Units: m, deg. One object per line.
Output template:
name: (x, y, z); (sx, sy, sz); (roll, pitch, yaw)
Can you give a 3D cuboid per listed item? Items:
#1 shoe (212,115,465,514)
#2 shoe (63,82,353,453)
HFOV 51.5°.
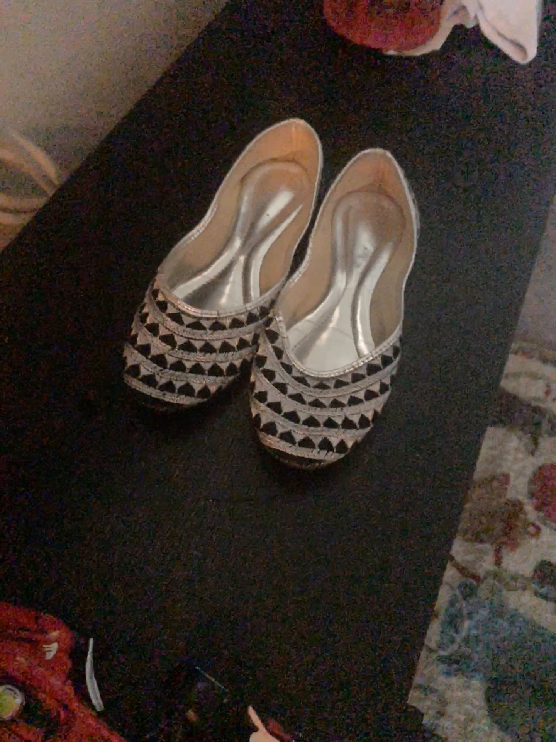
shoe: (0.050, -0.053, 0.401); (0.095, 0.070, 0.272); (17, 61, 7)
shoe: (-0.034, -0.088, 0.420); (0.095, 0.070, 0.272); (18, 61, 8)
